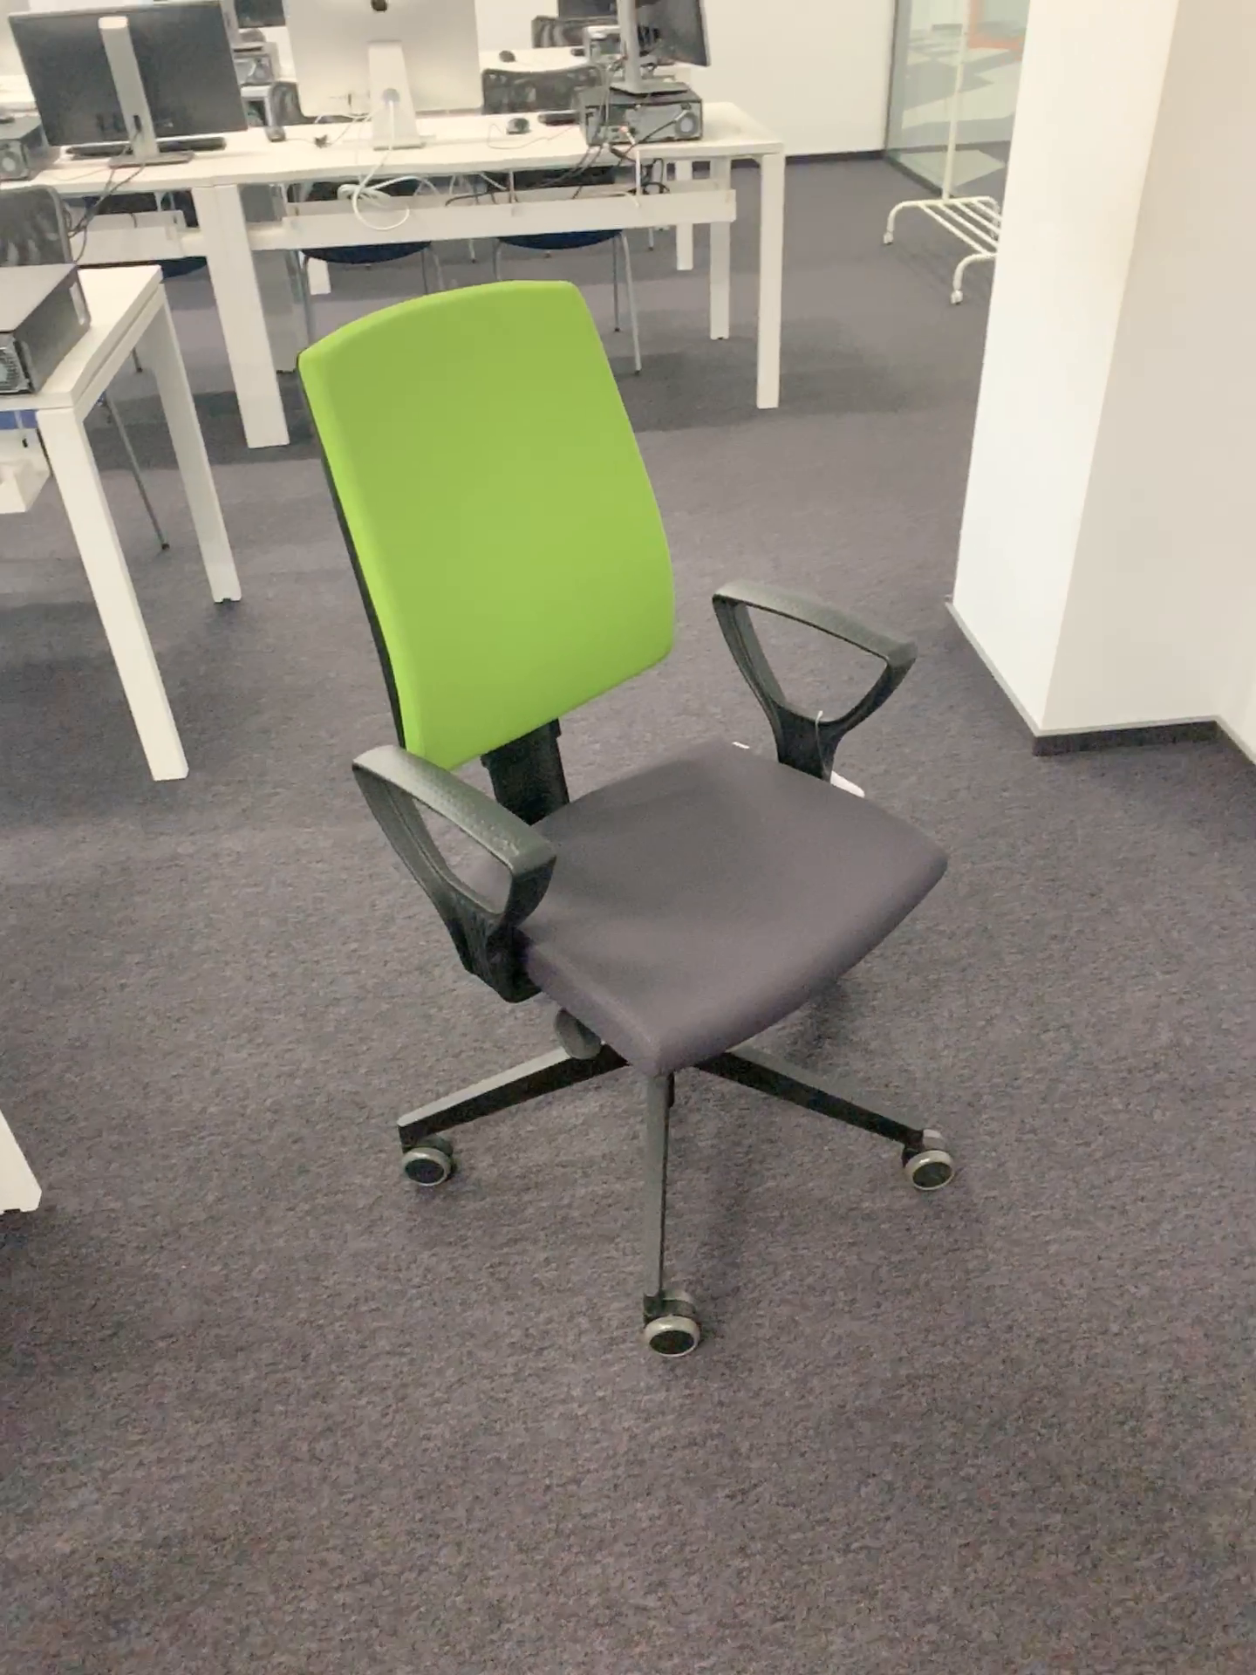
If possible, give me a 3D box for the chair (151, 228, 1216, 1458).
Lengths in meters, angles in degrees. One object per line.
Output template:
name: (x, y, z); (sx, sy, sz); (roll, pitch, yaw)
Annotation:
chair: (0.070, -0.030, 1.500); (0.722, 1.054, 0.672); (-32, 46, -33)
